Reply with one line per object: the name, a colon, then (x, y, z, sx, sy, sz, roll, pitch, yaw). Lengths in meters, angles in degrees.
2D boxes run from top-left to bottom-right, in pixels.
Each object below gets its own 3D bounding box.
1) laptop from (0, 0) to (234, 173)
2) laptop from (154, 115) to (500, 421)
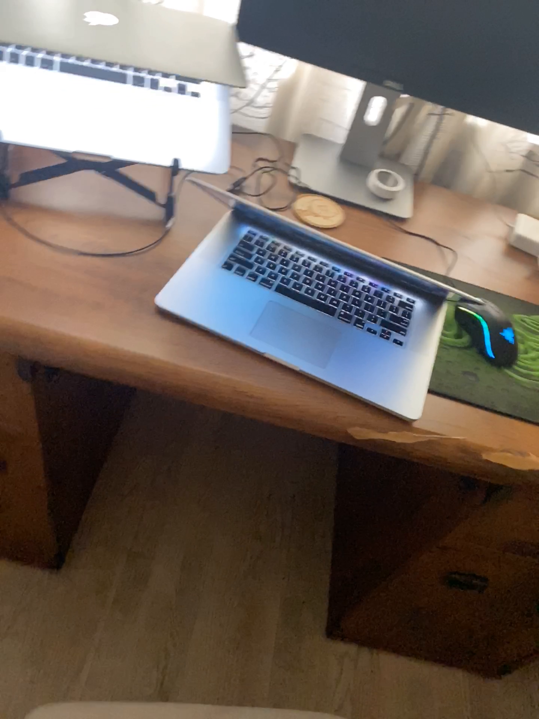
laptop: (-0.227, -0.392, 0.730, 0.355, 0.022, 0.243, 4, 74, -13)
laptop: (0.075, -0.126, 0.691, 0.355, 0.152, 0.236, 25, 48, 5)
